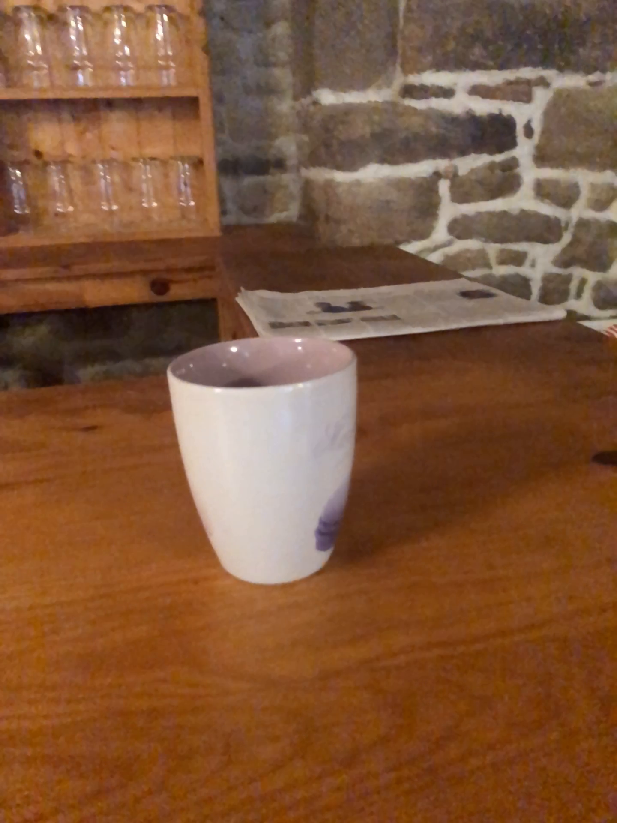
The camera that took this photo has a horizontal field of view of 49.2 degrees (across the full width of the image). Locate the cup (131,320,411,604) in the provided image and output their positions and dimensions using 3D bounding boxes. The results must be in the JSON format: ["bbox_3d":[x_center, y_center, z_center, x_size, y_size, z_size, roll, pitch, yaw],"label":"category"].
[{"bbox_3d":[-0.010,0.015,0.351,0.100,0.096,0.121,6,21,19],"label":"cup"}]
